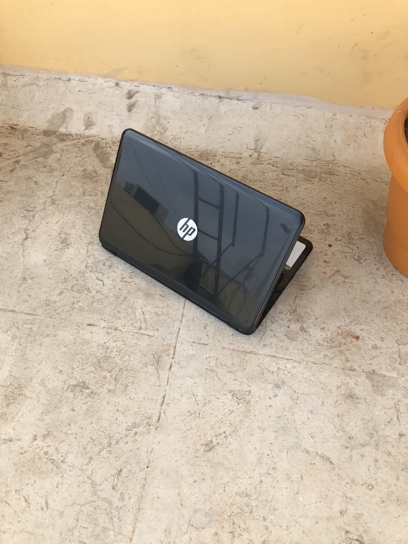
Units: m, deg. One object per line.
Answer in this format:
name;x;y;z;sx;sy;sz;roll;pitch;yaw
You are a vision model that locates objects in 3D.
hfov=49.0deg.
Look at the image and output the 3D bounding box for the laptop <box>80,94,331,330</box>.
laptop;-0.001;-0.113;0.816;0.345;0.189;0.222;30;65;18
